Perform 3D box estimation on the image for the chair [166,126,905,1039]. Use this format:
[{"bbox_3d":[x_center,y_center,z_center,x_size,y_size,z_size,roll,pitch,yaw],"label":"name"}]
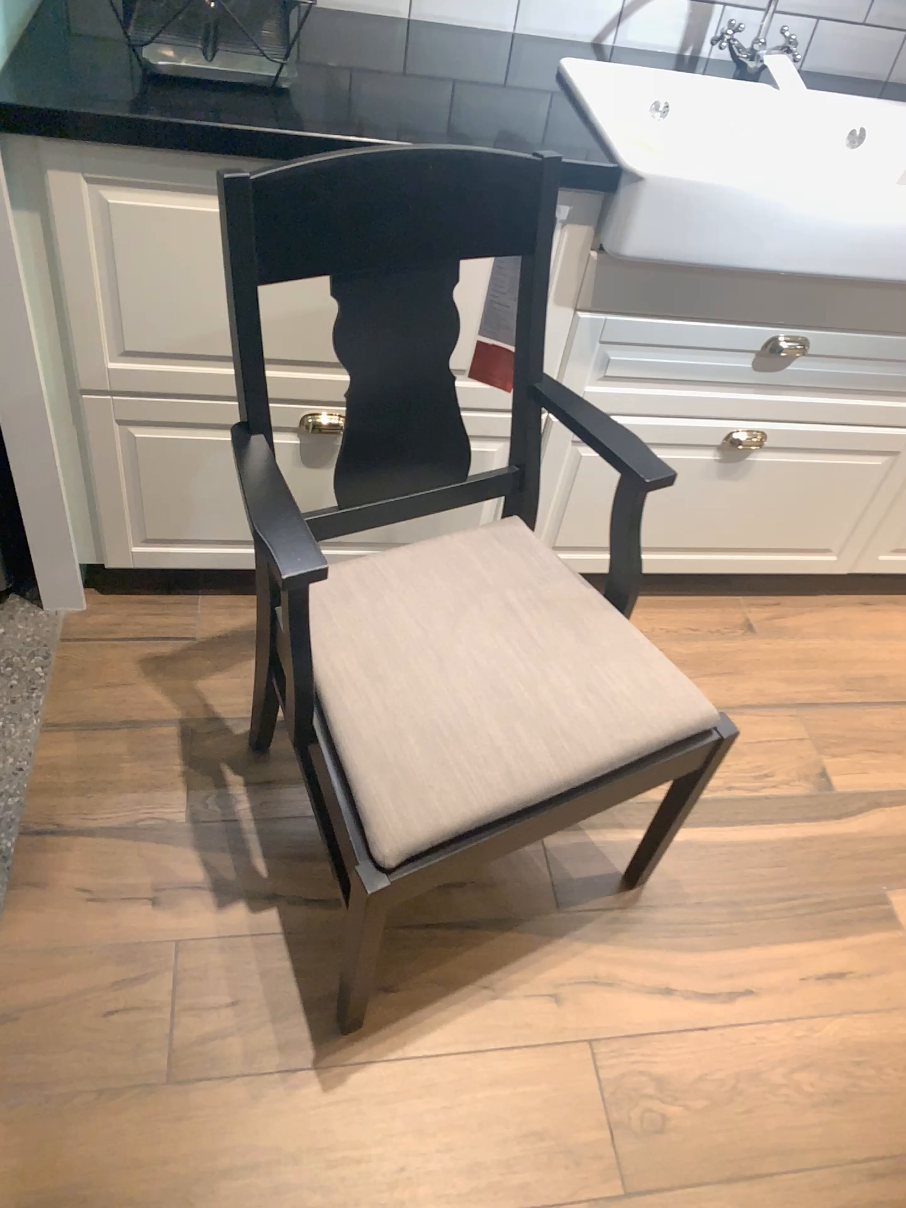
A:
[{"bbox_3d":[0.044,-0.017,1.164,0.571,0.887,0.591,-17,51,-26],"label":"chair"}]
